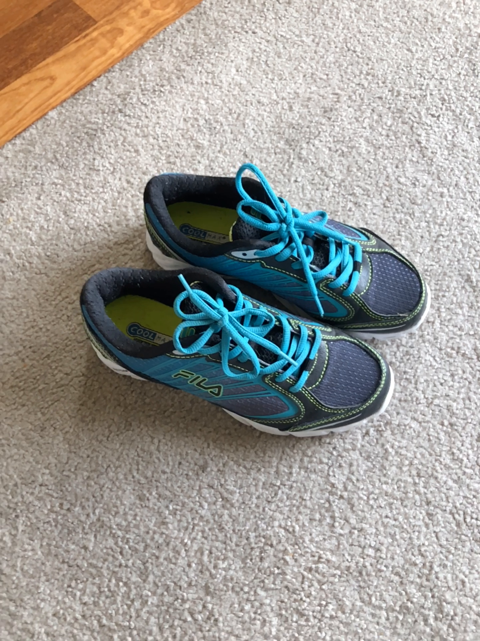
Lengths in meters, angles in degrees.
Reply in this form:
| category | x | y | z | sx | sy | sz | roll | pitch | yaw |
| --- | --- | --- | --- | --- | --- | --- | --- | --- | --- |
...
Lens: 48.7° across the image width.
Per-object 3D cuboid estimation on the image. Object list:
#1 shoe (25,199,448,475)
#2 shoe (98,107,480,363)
| category | x | y | z | sx | sy | sz | roll | pitch | yaw |
| --- | --- | --- | --- | --- | --- | --- | --- | --- | --- |
| shoe | -0.002 | 0.017 | 0.418 | 0.271 | 0.119 | 0.105 | 18 | 69 | 9 |
| shoe | 0.041 | -0.068 | 0.451 | 0.274 | 0.119 | 0.102 | 17 | 71 | 8 |
